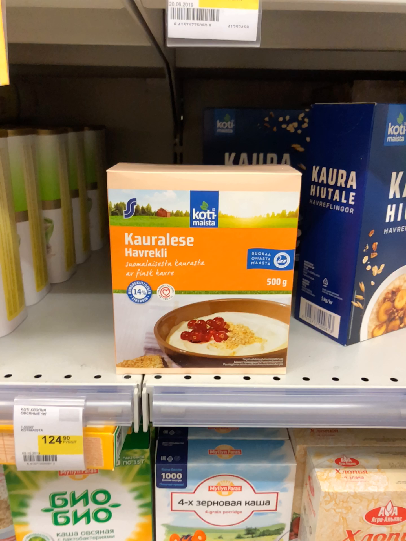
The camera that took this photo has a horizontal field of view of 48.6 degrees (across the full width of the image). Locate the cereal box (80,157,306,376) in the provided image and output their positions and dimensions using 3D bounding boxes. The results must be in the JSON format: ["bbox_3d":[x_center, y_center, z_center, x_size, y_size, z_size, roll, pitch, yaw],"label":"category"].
[{"bbox_3d":[-0.008,-0.004,0.378,0.160,0.169,0.070,0,18,-1],"label":"cereal box"}]
